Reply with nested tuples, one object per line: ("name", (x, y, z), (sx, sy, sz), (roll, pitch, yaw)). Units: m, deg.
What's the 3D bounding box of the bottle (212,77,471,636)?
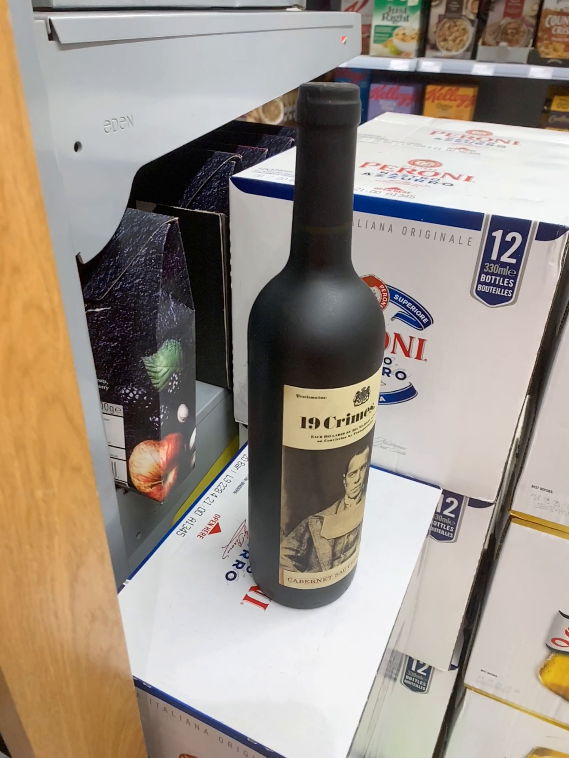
("bottle", (0.021, 0.002, 0.319), (0.078, 0.288, 0.075), (1, 32, -1))
